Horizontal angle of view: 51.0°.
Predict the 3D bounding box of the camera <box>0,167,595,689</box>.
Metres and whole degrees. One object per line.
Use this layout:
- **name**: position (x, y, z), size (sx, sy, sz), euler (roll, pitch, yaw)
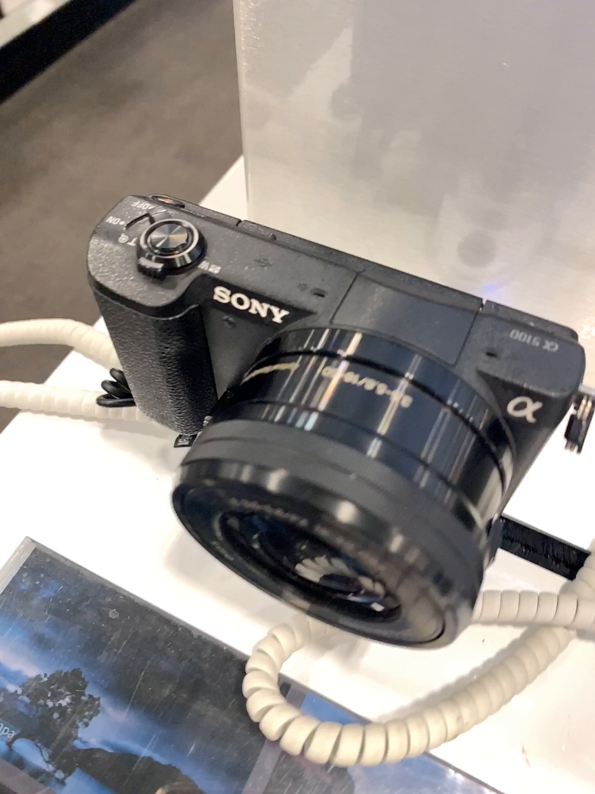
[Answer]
- **camera**: position (0.000, 0.006, 0.147), size (0.112, 0.060, 0.066), euler (21, 60, 12)
